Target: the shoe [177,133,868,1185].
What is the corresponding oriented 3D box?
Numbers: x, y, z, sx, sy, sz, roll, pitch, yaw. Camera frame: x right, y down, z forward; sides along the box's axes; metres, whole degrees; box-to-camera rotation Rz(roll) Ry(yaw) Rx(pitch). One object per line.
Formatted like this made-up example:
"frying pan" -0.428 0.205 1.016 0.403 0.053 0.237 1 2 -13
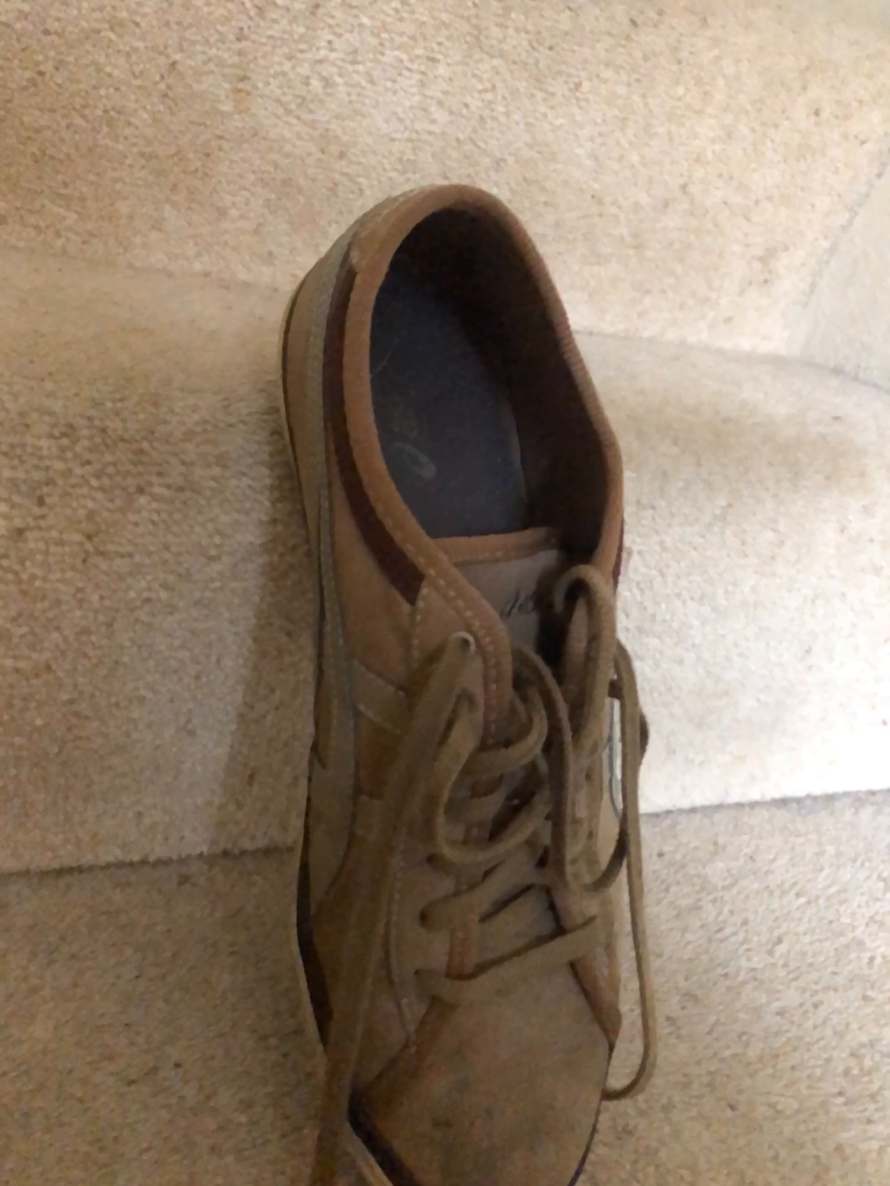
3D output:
"shoe" -0.001 0.044 0.281 0.110 0.301 0.119 -4 -14 -21
